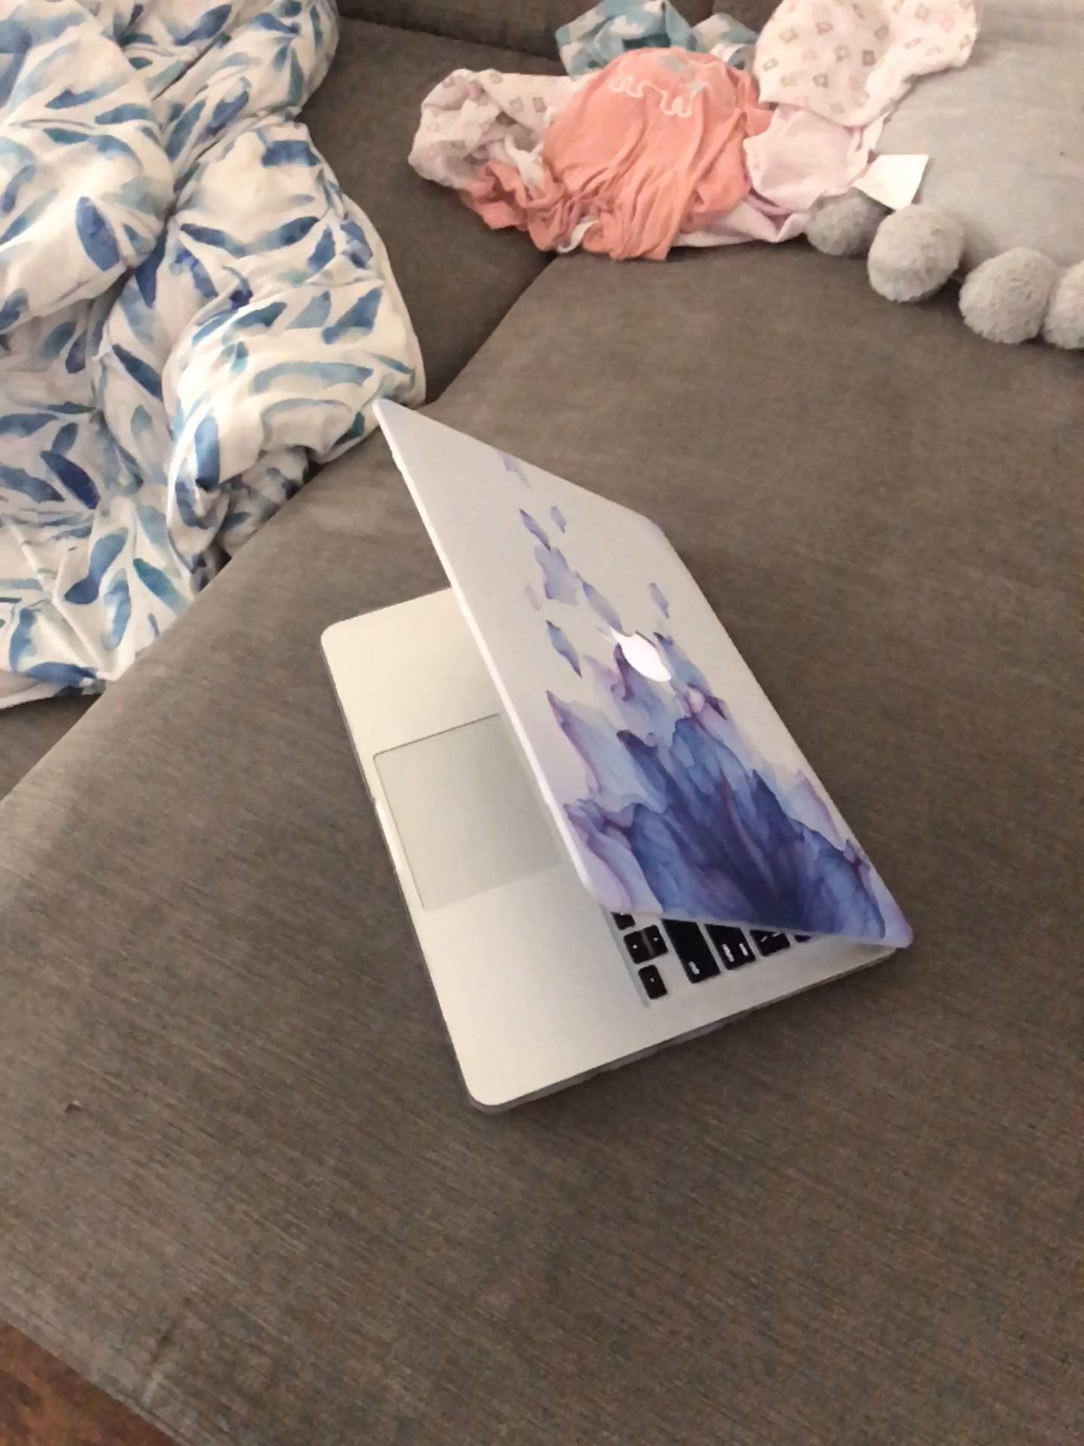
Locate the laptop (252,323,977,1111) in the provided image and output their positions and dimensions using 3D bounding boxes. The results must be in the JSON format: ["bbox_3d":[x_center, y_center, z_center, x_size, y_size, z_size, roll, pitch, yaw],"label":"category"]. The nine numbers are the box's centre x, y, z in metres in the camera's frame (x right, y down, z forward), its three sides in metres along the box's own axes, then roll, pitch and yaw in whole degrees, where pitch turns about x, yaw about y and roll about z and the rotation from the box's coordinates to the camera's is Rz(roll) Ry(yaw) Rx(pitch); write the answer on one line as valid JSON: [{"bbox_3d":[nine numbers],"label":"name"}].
[{"bbox_3d":[0.012,-0.019,0.580,0.217,0.137,0.309,-18,54,-9],"label":"laptop"}]
